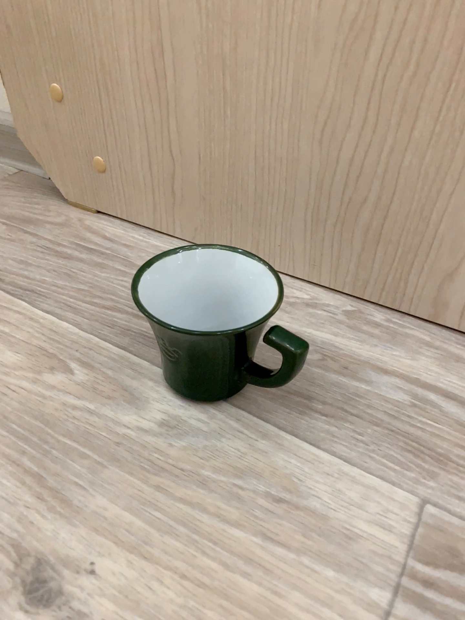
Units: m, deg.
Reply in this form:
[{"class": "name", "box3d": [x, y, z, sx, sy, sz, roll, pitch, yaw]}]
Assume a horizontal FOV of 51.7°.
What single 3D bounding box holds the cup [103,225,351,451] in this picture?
[{"class": "cup", "box3d": [-0.003, 0.009, 0.269, 0.107, 0.061, 0.074, 23, 43, 25]}]
